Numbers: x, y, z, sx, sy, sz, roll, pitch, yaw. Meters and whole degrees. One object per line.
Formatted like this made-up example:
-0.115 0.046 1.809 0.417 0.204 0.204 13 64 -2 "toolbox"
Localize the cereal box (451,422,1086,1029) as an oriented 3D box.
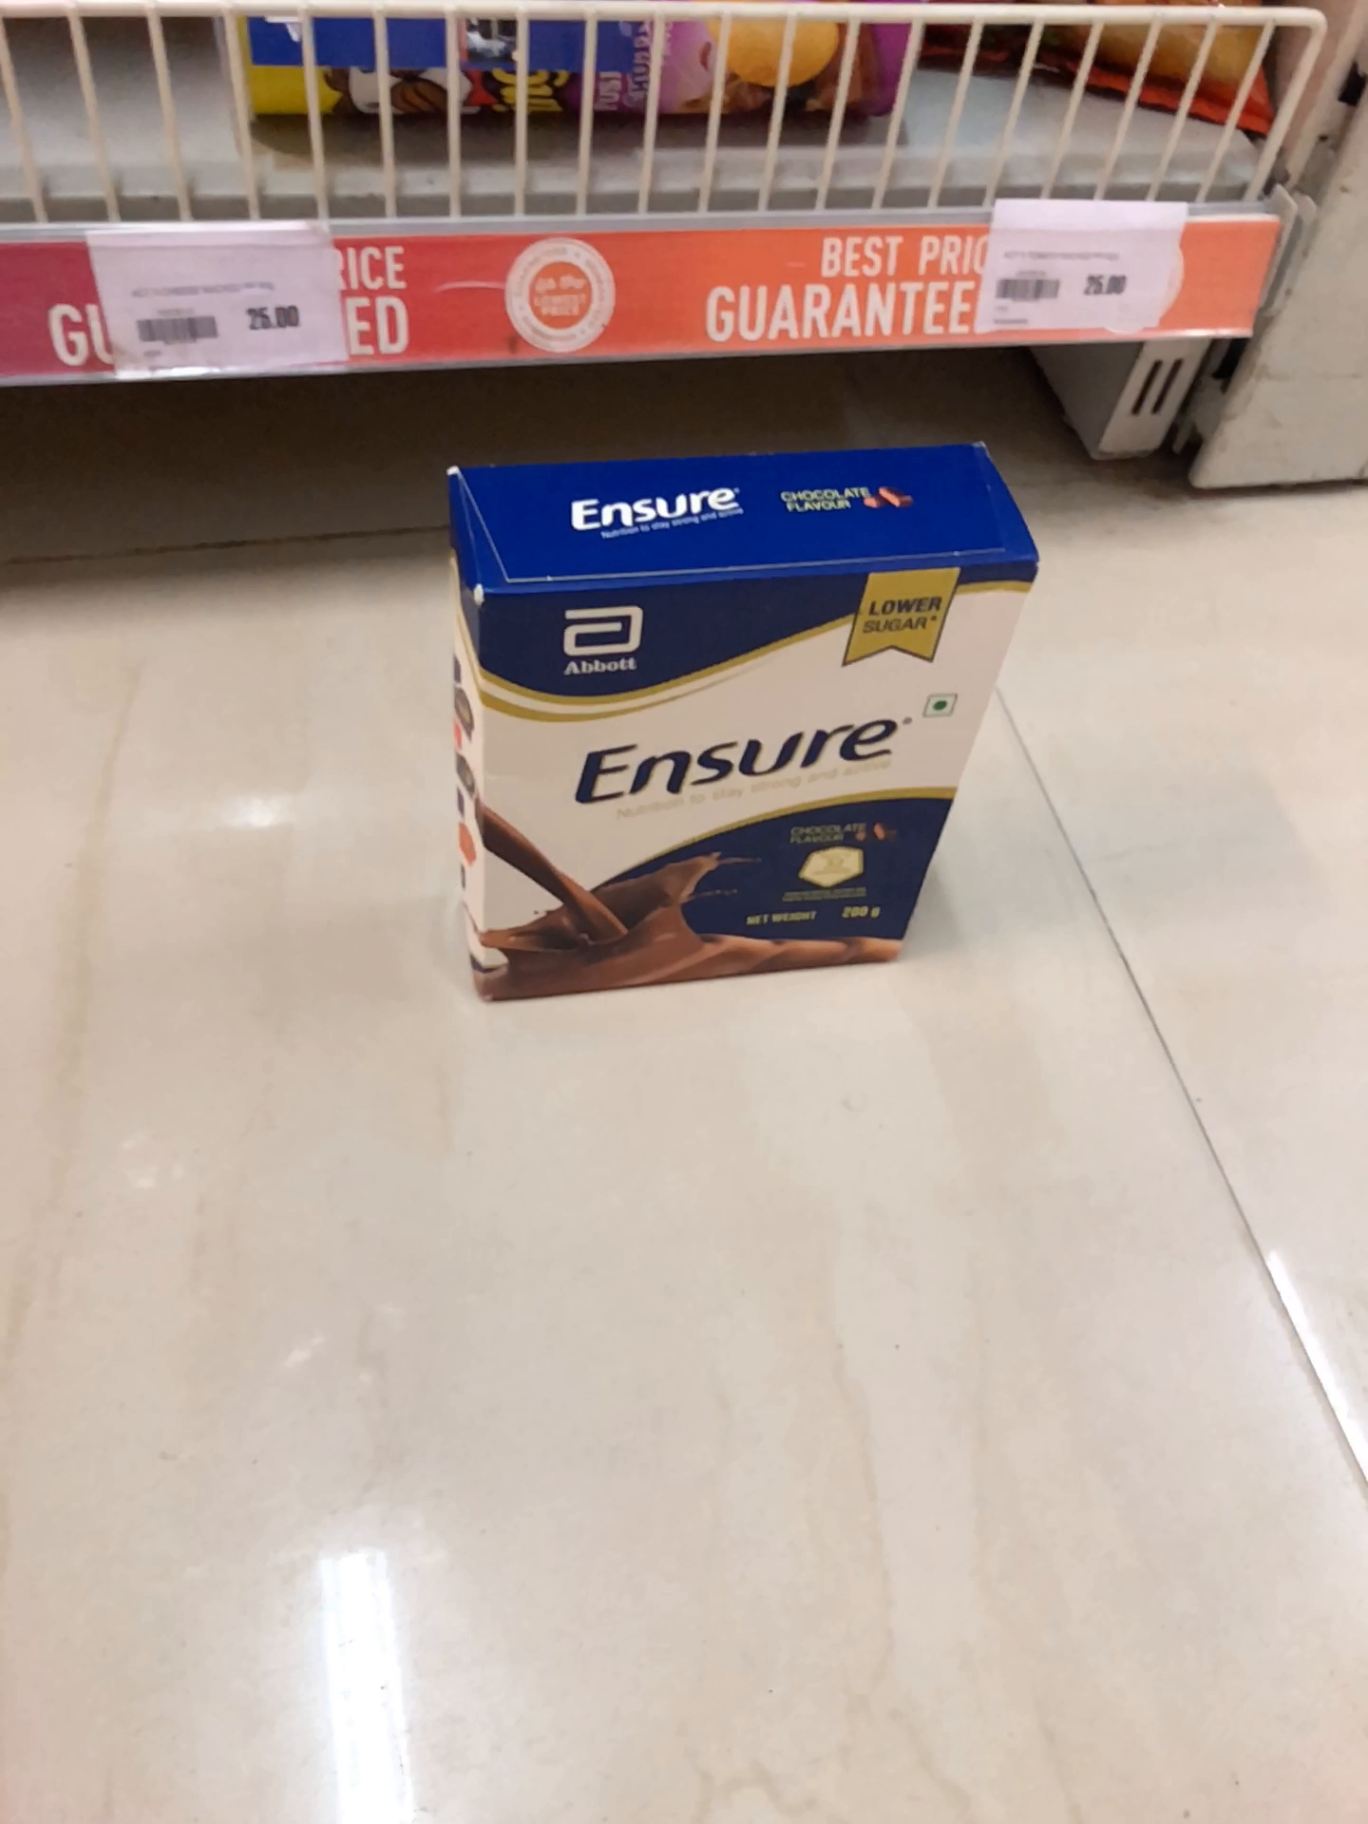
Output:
0.010 -0.043 0.421 0.140 0.179 0.050 -5 55 -11 "cereal box"
